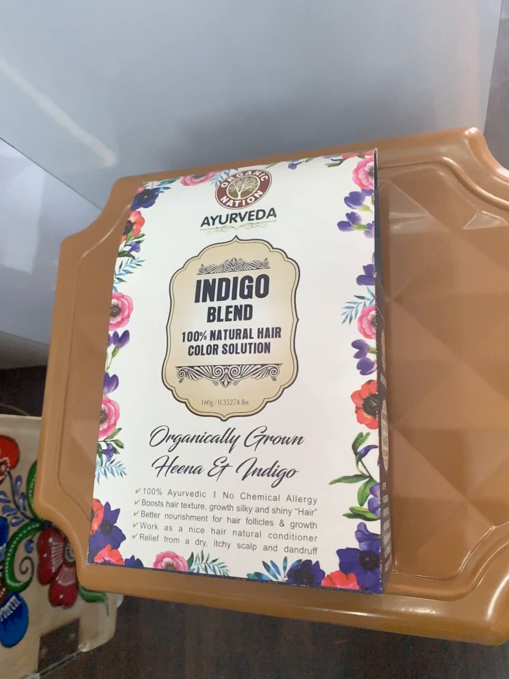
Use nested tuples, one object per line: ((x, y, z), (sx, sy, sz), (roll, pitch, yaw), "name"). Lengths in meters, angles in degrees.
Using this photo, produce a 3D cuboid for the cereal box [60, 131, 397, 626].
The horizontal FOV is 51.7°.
((-0.006, 0.016, 0.266), (0.140, 0.070, 0.200), (-3, 77, 19), "cereal box")
